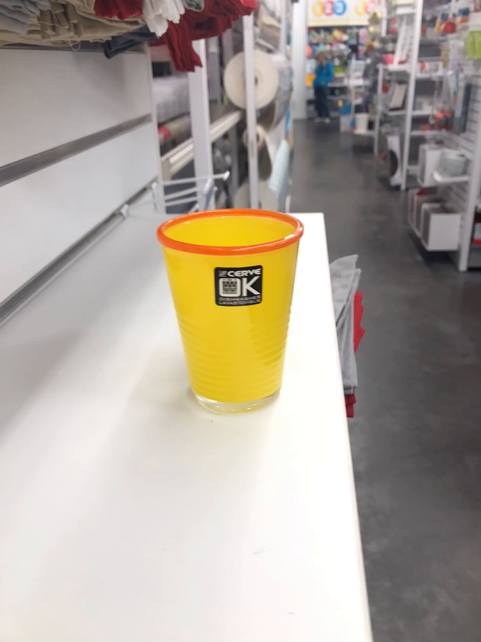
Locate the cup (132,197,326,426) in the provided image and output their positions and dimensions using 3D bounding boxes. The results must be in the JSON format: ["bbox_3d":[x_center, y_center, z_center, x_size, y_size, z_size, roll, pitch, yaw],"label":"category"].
[{"bbox_3d":[-0.010,-0.011,0.304,0.088,0.094,0.085,-2,25,1],"label":"cup"}]
